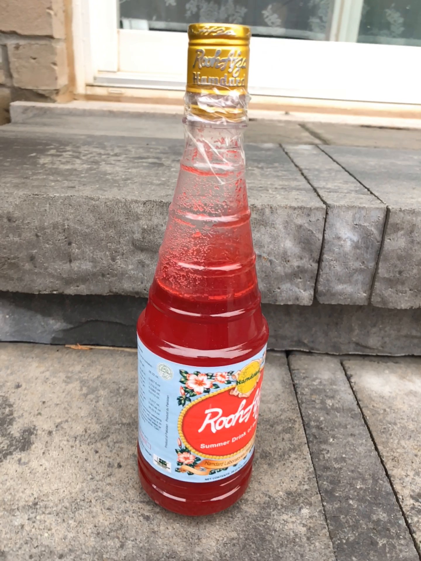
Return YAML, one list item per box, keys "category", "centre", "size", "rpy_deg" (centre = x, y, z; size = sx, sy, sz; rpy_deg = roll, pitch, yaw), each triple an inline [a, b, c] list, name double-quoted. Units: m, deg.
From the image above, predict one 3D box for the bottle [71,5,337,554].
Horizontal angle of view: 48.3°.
- category: "bottle"
  centre: [-0.010, 0.009, 0.271]
  size: [0.090, 0.279, 0.080]
  rpy_deg: [-17, 32, -38]
